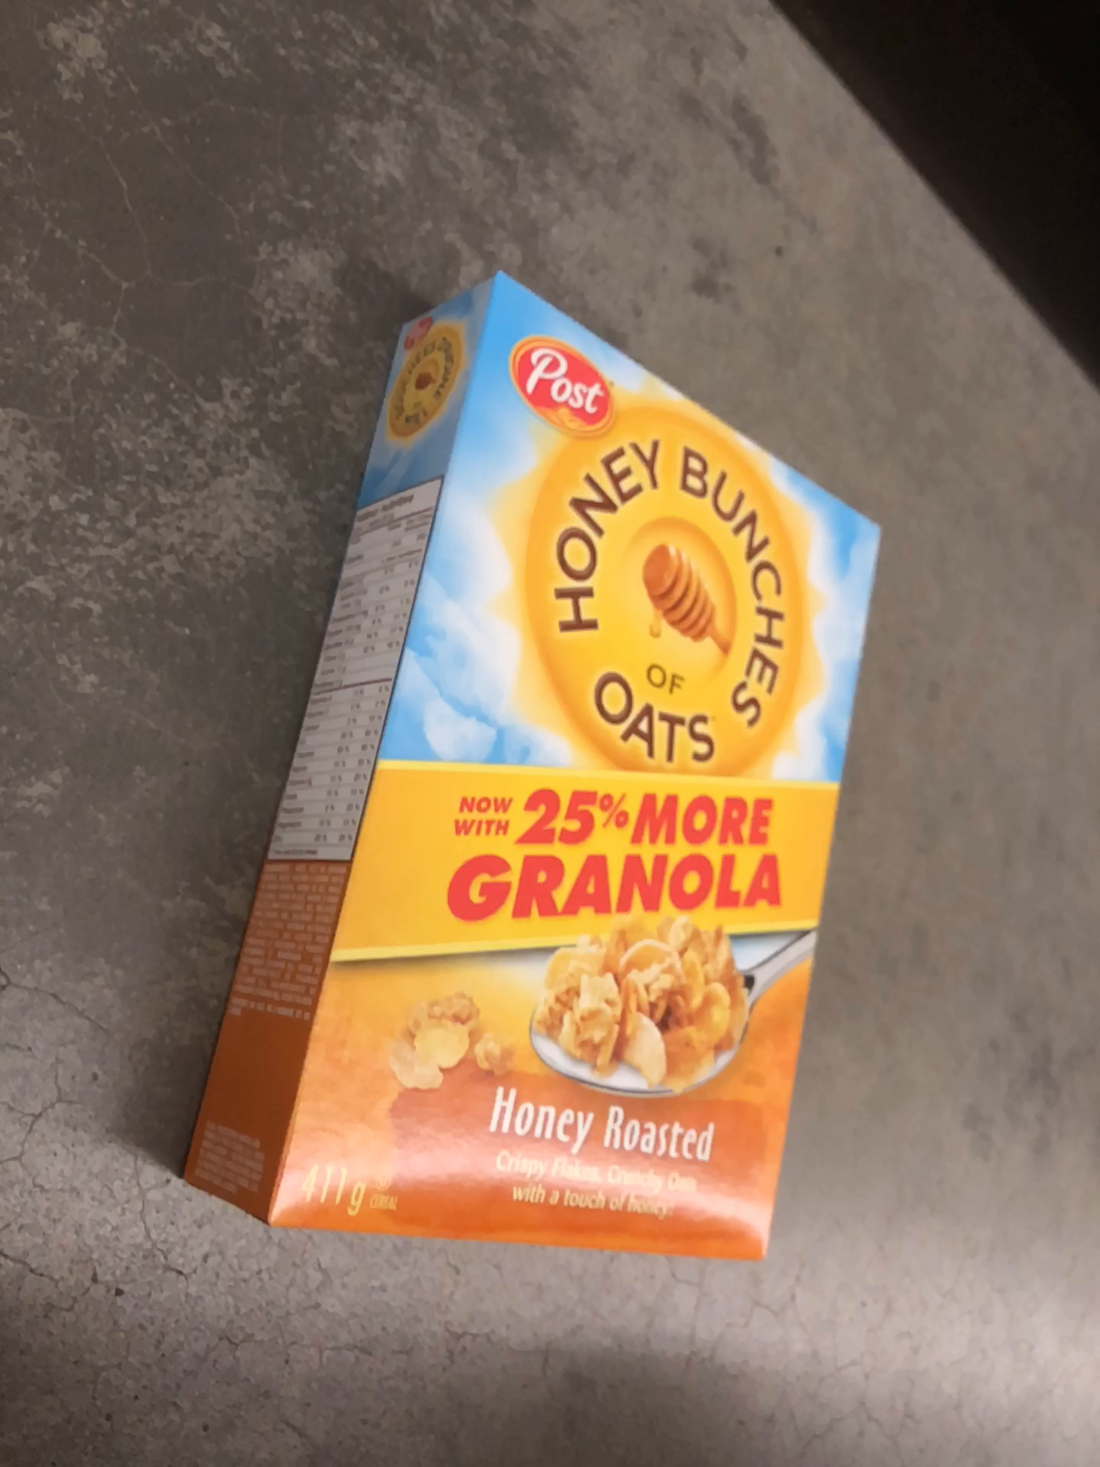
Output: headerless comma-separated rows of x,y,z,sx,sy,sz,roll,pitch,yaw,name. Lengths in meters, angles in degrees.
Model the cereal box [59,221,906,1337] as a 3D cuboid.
0.005,0.029,0.388,0.211,0.060,0.280,27,72,-39,cereal box
